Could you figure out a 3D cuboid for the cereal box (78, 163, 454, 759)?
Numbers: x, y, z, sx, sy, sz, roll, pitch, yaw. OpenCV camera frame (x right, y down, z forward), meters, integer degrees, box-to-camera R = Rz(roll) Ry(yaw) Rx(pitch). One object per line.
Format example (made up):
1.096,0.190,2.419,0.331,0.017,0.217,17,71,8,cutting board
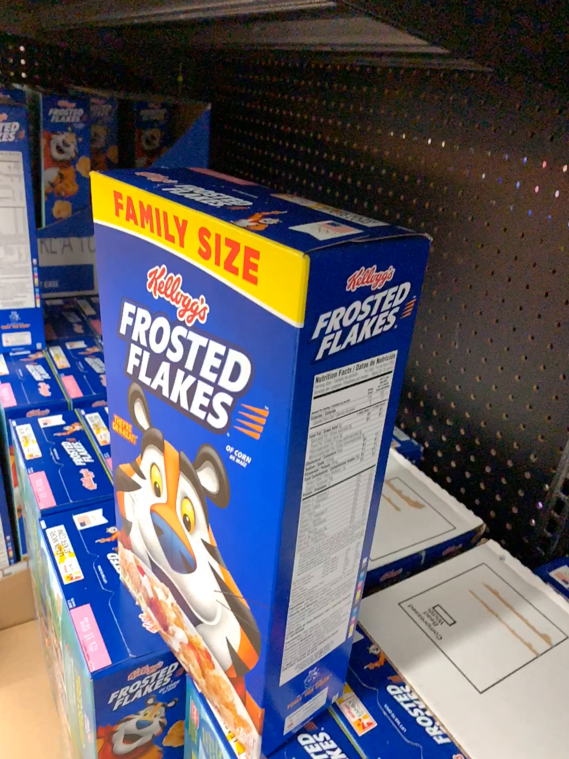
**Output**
-0.037,0.051,0.366,0.080,0.318,0.211,-16,34,-35,cereal box
